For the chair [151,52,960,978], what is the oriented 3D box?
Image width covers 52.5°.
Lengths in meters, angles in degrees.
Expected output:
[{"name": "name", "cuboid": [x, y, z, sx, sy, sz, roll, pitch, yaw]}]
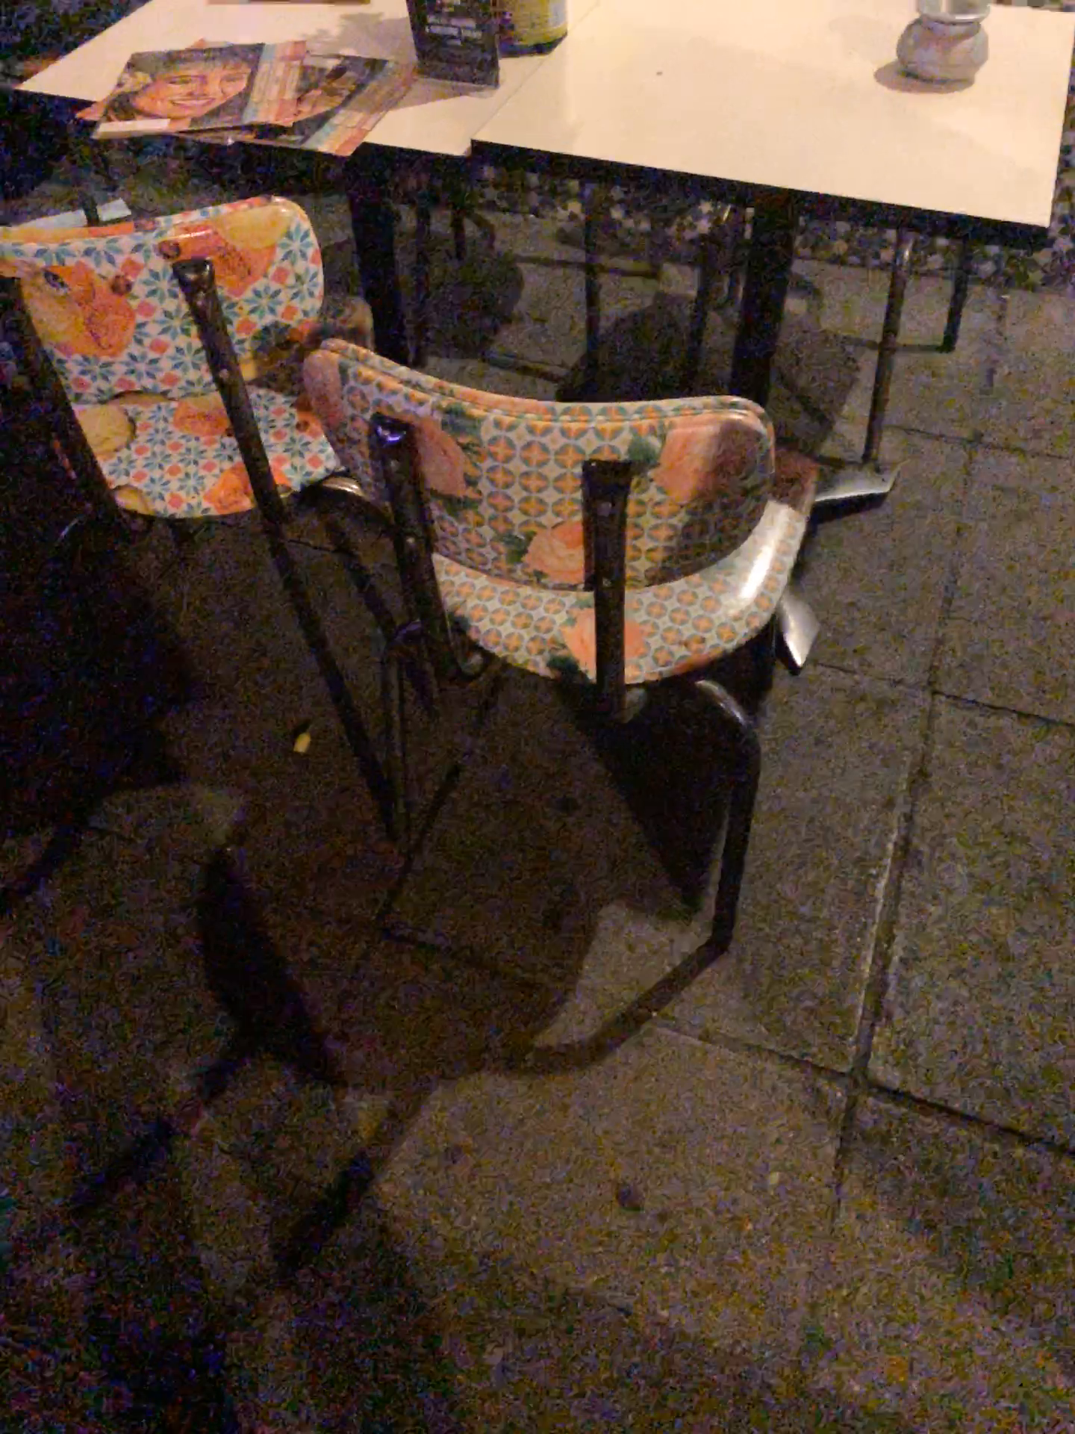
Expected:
[{"name": "chair", "cuboid": [0.068, -0.197, 1.175, 0.521, 0.694, 0.574, 13, 54, 13]}]
